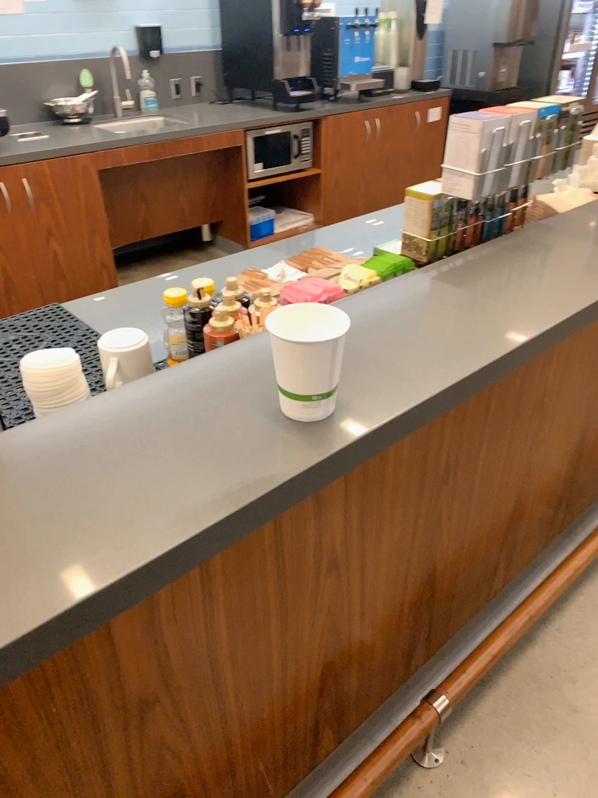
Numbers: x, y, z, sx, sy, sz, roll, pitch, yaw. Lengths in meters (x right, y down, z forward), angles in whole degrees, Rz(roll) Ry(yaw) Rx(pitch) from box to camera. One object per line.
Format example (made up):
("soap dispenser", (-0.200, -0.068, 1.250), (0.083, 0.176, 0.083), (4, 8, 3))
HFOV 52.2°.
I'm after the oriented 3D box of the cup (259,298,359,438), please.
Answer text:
("cup", (0.008, -0.035, 0.663), (0.090, 0.109, 0.101), (-5, 33, -6))
